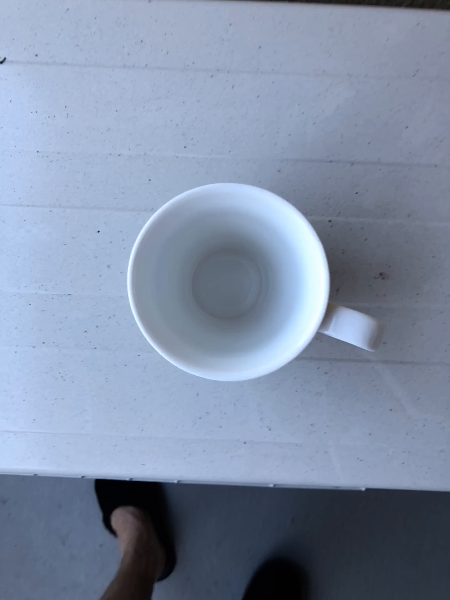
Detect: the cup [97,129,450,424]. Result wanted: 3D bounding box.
[{"bbox_3d":[0.023,-0.010,0.270,0.140,0.100,0.100,13,90,-1],"label":"cup"}]
